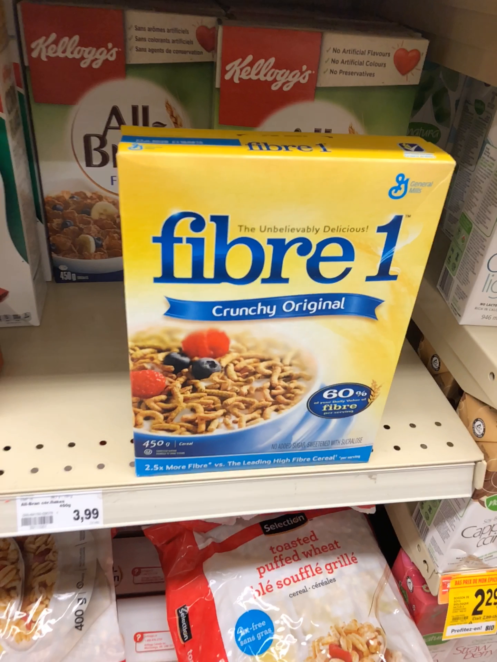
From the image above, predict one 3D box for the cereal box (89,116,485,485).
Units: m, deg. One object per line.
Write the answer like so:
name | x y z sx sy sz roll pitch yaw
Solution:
cereal box | 0.012 -0.007 0.377 0.210 0.248 0.060 -2 36 -10
